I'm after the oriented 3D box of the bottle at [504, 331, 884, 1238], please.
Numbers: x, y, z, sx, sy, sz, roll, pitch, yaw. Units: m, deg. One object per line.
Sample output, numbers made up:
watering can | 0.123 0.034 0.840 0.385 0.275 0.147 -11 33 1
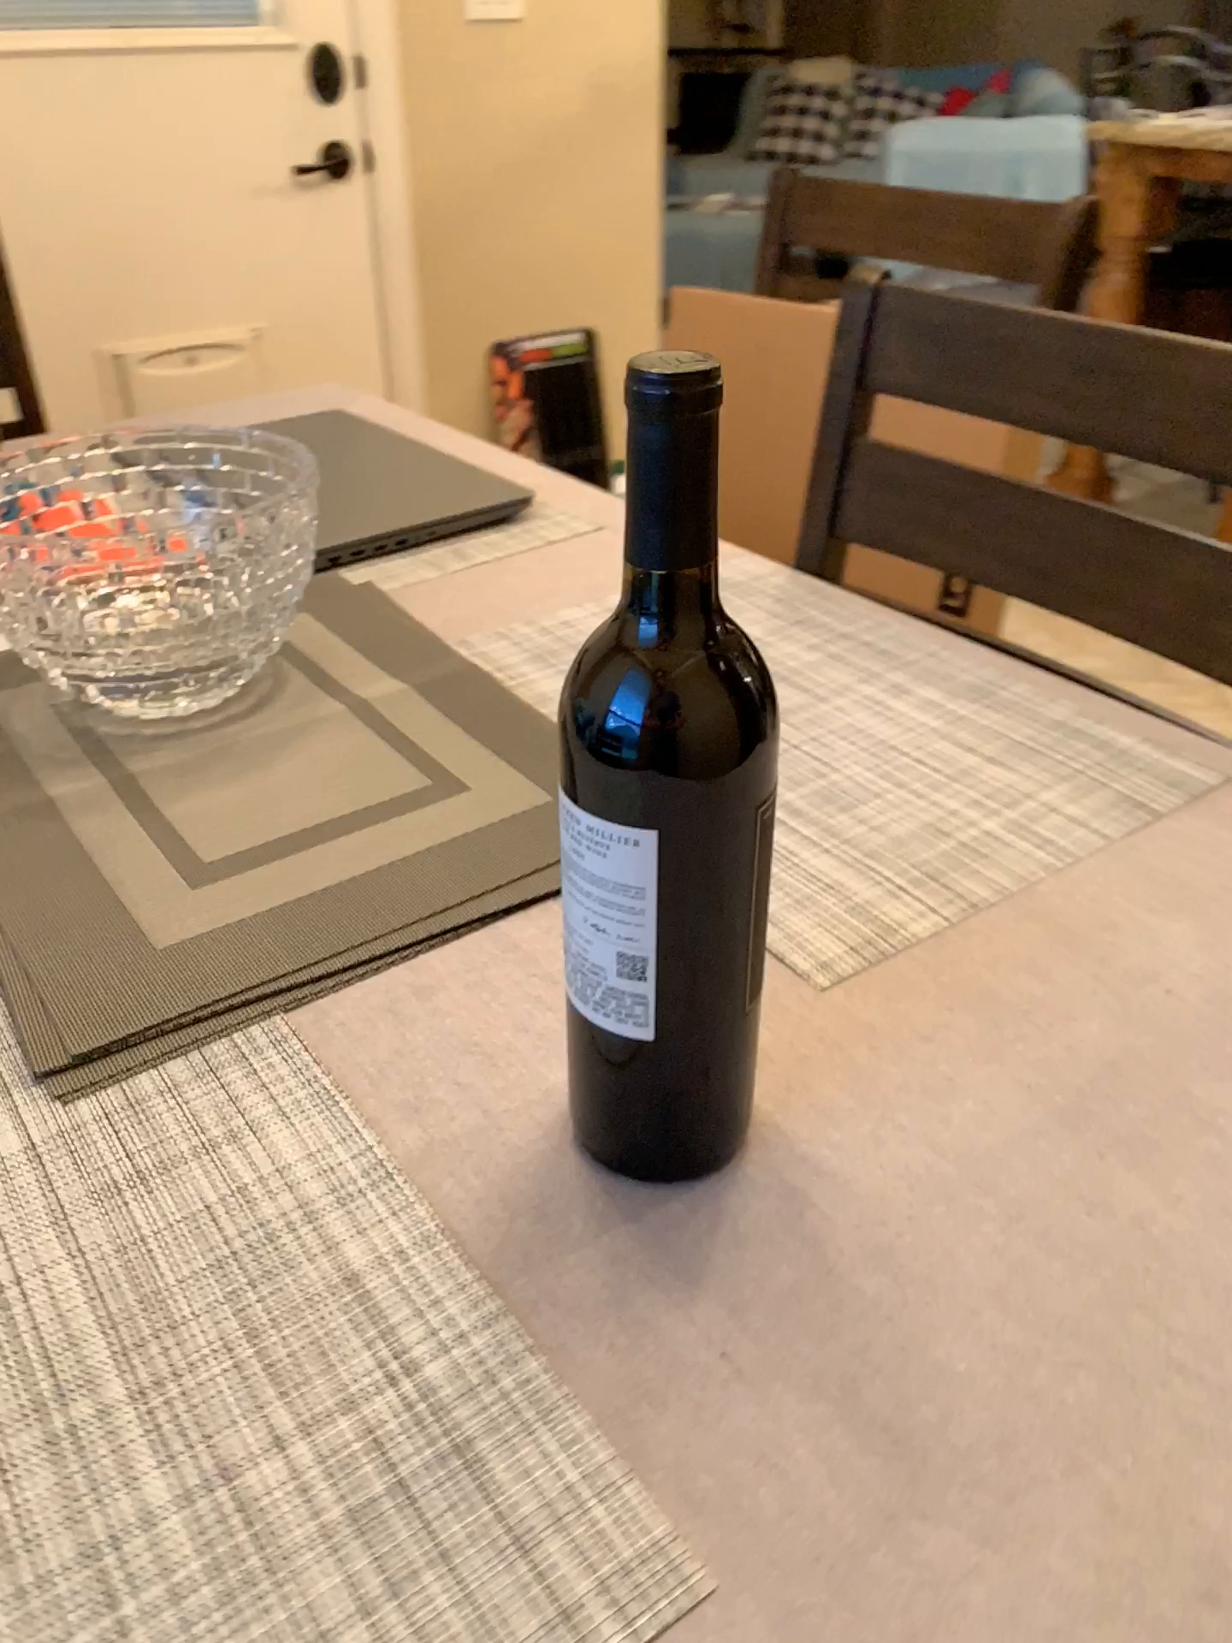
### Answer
bottle | 0.023 -0.001 0.460 0.080 0.314 0.080 0 32 0
